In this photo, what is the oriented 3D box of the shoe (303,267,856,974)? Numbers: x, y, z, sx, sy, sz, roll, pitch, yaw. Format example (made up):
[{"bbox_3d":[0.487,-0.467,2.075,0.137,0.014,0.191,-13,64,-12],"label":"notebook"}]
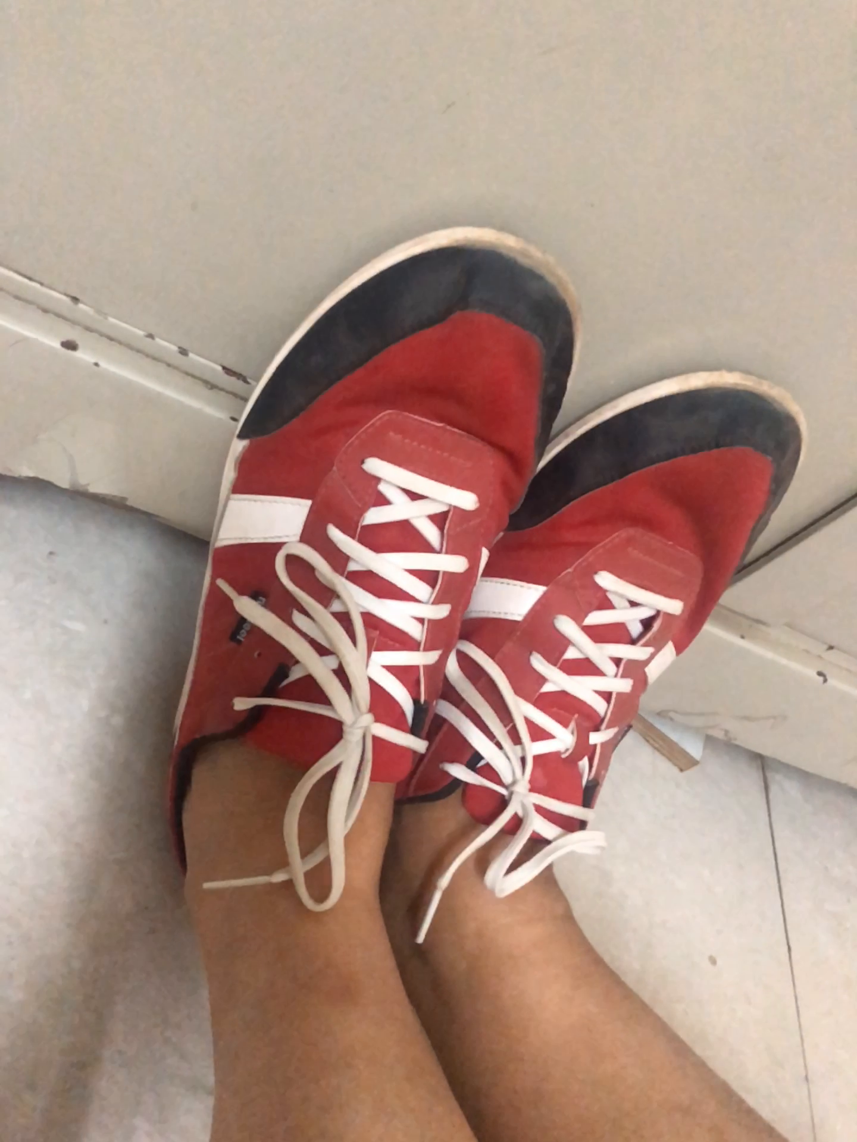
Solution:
[{"bbox_3d":[0.053,0.026,0.369,0.100,0.249,0.080,20,18,-23],"label":"shoe"}]

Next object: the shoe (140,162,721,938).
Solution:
[{"bbox_3d":[-0.013,0.002,0.318,0.100,0.229,0.080,8,23,-31],"label":"shoe"}]
